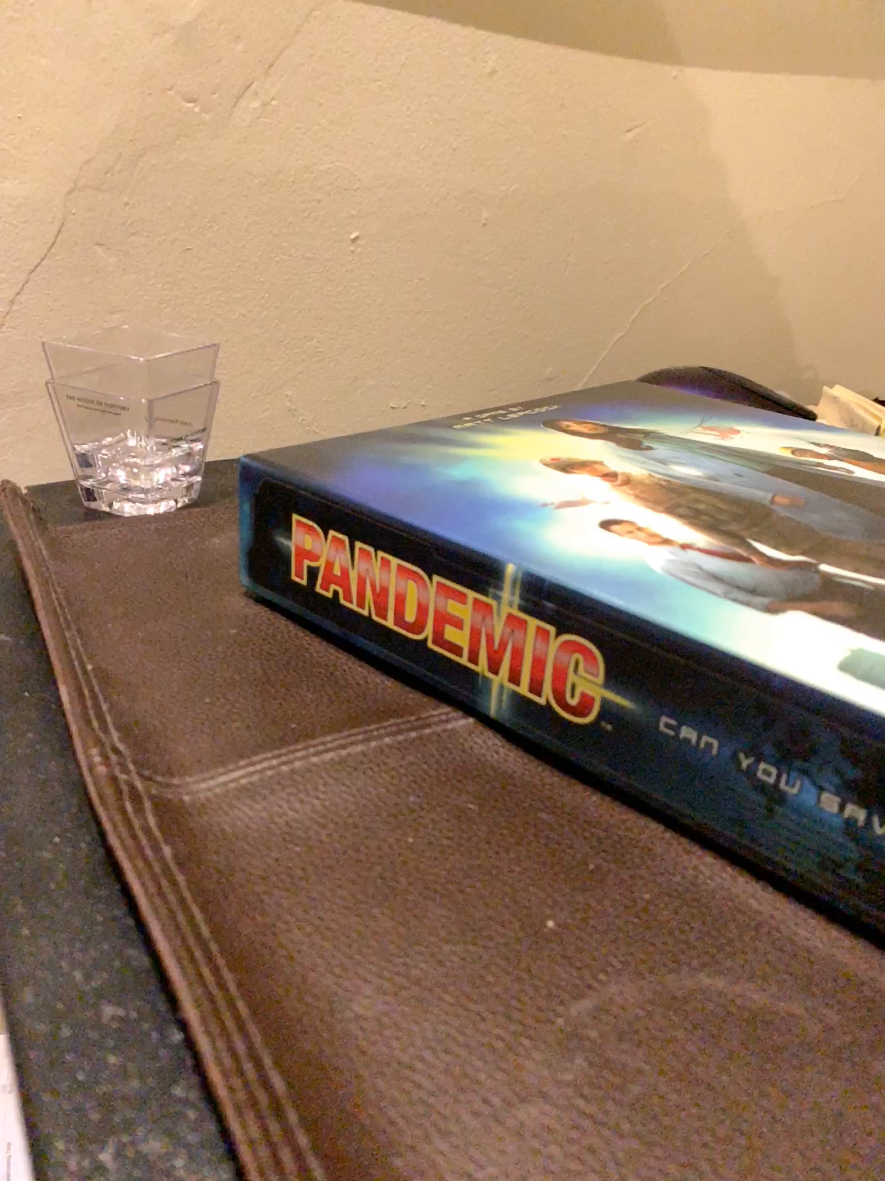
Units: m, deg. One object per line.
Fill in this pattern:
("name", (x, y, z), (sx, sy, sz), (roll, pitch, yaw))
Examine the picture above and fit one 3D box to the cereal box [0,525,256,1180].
("cereal box", (-0.508, 0.522, 0.769), (0.510, 0.995, 0.472), (7, 26, 9))
